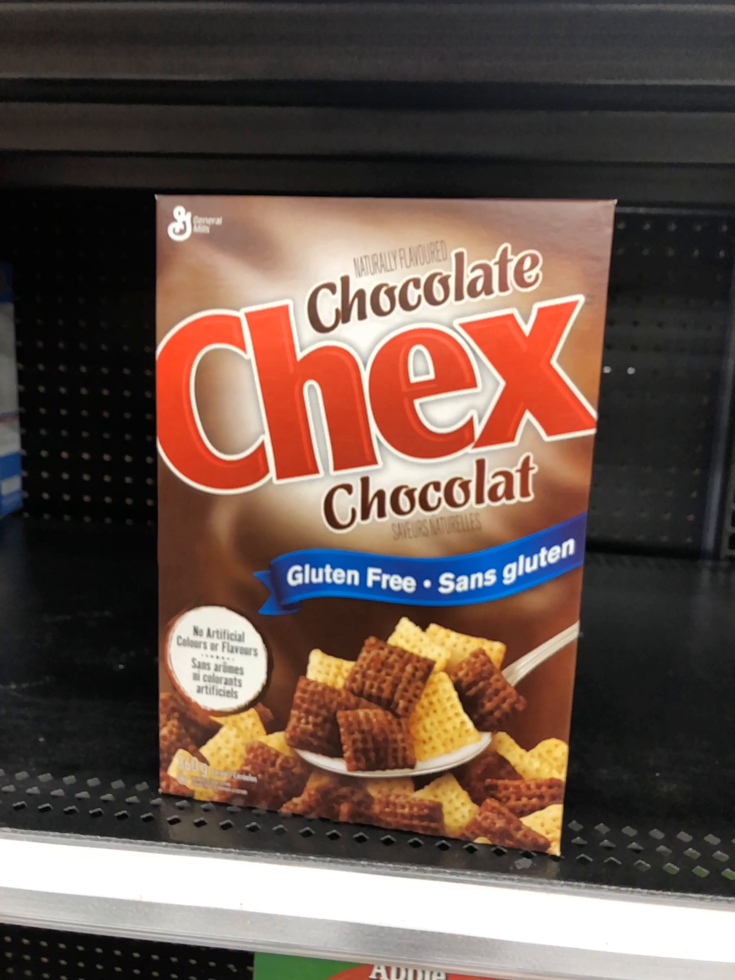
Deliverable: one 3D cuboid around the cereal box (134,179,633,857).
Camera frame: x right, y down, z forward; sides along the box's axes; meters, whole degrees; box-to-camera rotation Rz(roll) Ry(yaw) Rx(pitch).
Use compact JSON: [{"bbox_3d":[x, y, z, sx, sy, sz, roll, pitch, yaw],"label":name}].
[{"bbox_3d":[0.000,0.010,0.373,0.200,0.279,0.050,4,11,11],"label":"cereal box"}]
